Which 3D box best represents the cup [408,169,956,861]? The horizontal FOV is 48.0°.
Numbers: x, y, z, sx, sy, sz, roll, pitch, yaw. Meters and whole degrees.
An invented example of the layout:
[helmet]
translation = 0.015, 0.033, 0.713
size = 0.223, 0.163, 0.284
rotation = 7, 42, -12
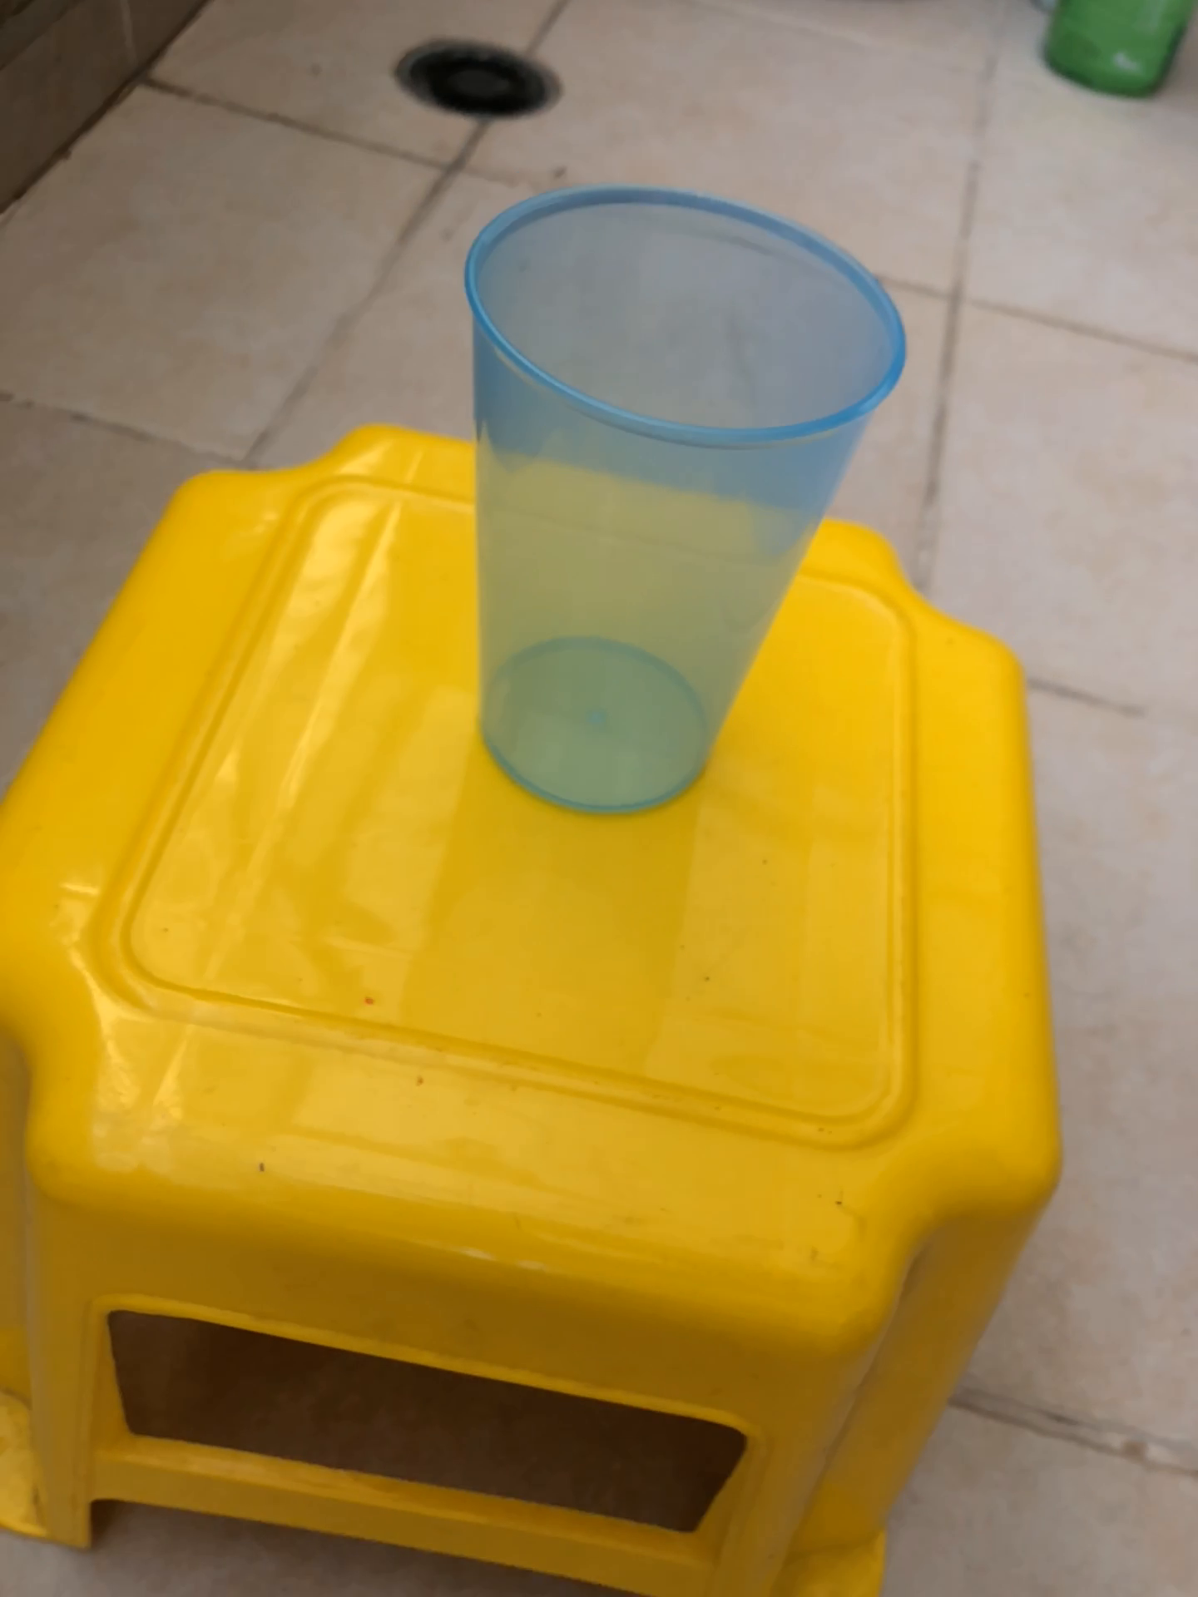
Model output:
[cup]
translation = 0.009, -0.050, 0.261
size = 0.080, 0.099, 0.070
rotation = 7, 51, -4
